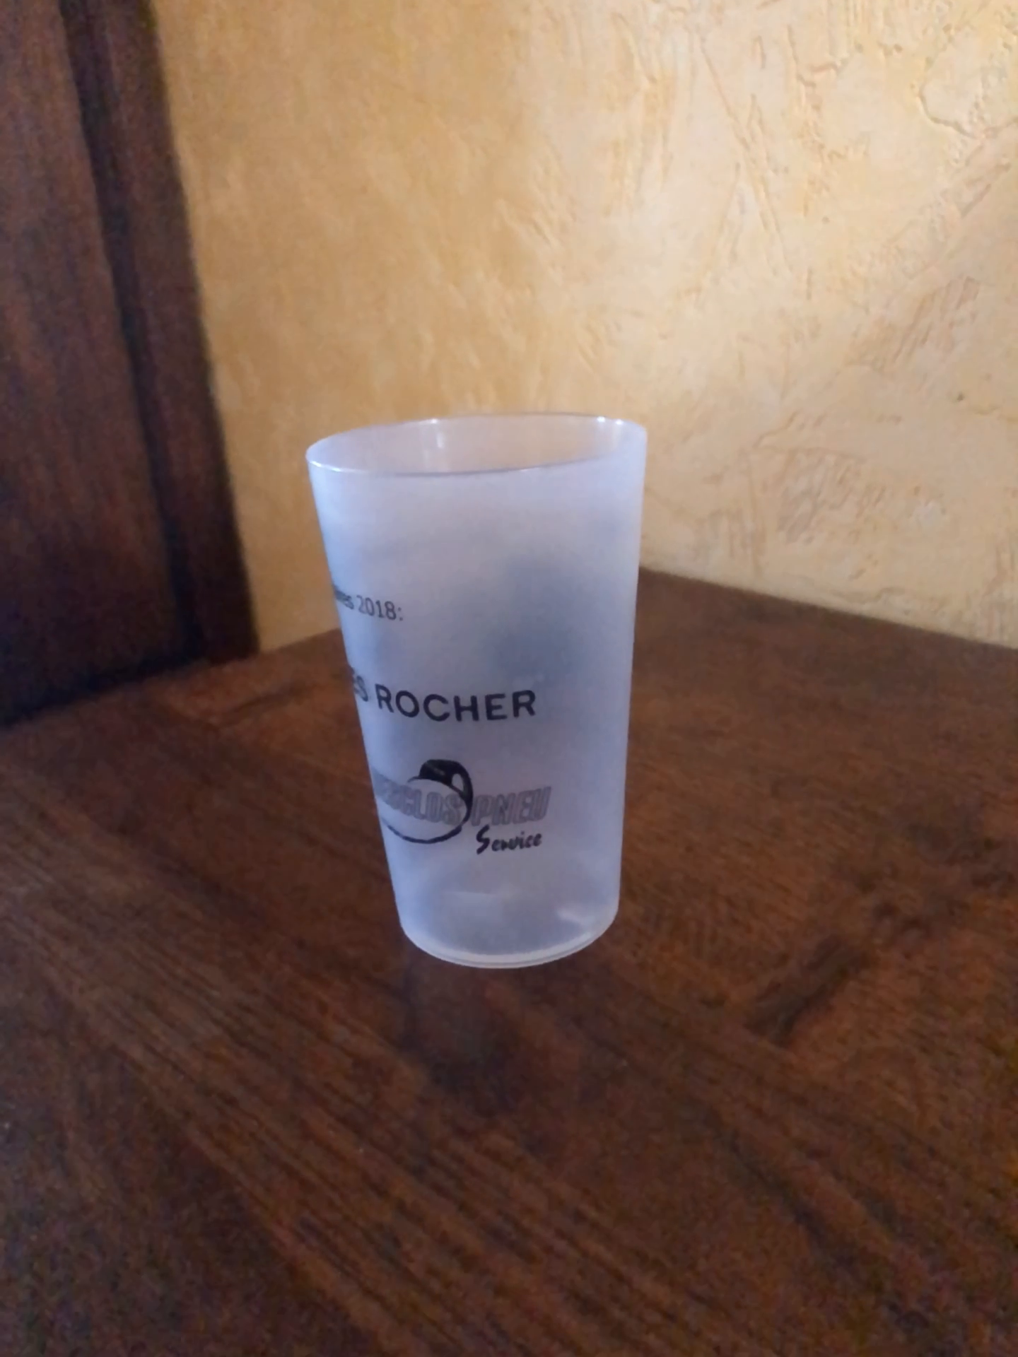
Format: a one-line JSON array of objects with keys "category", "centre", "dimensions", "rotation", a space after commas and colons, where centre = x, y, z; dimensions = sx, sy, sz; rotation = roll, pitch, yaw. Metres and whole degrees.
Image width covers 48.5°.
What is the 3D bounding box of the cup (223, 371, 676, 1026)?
[{"category": "cup", "centre": [-0.012, -0.002, 0.257], "dimensions": [0.070, 0.119, 0.070], "rotation": [-3, 21, 1]}]
